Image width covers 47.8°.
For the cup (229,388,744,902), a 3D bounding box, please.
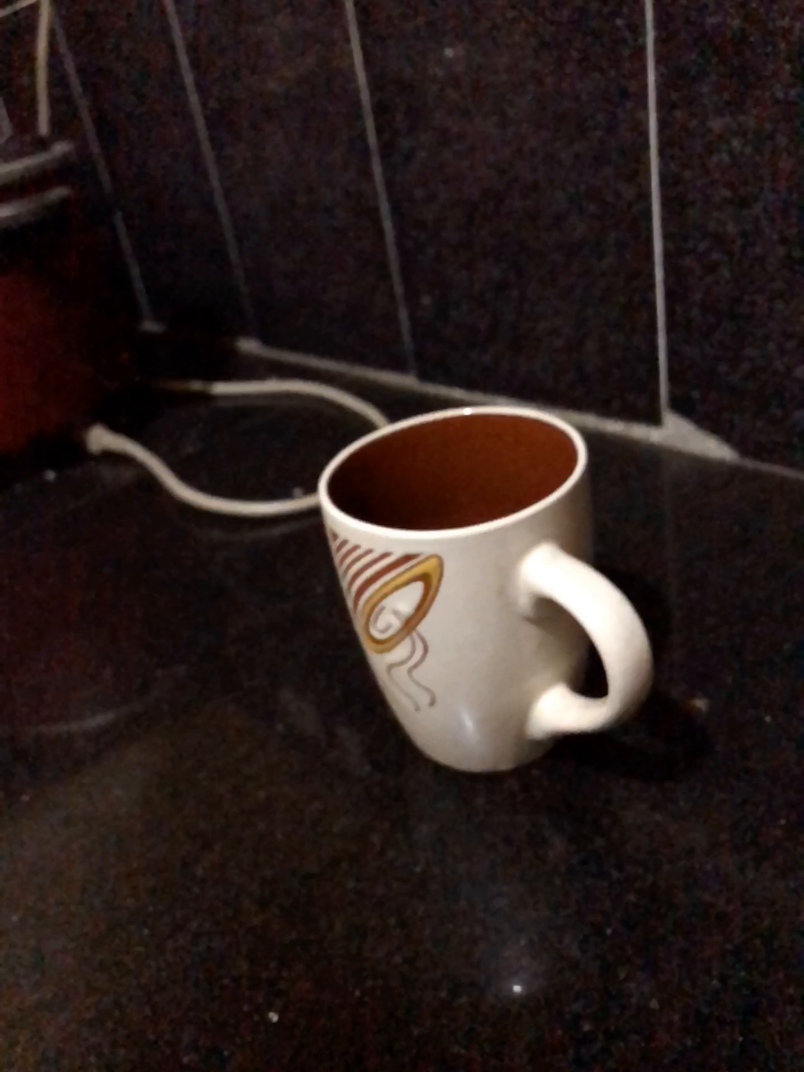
[{"bbox_3d":[0.027,0.022,0.283,0.090,0.089,0.120,-32,35,-31],"label":"cup"}]
